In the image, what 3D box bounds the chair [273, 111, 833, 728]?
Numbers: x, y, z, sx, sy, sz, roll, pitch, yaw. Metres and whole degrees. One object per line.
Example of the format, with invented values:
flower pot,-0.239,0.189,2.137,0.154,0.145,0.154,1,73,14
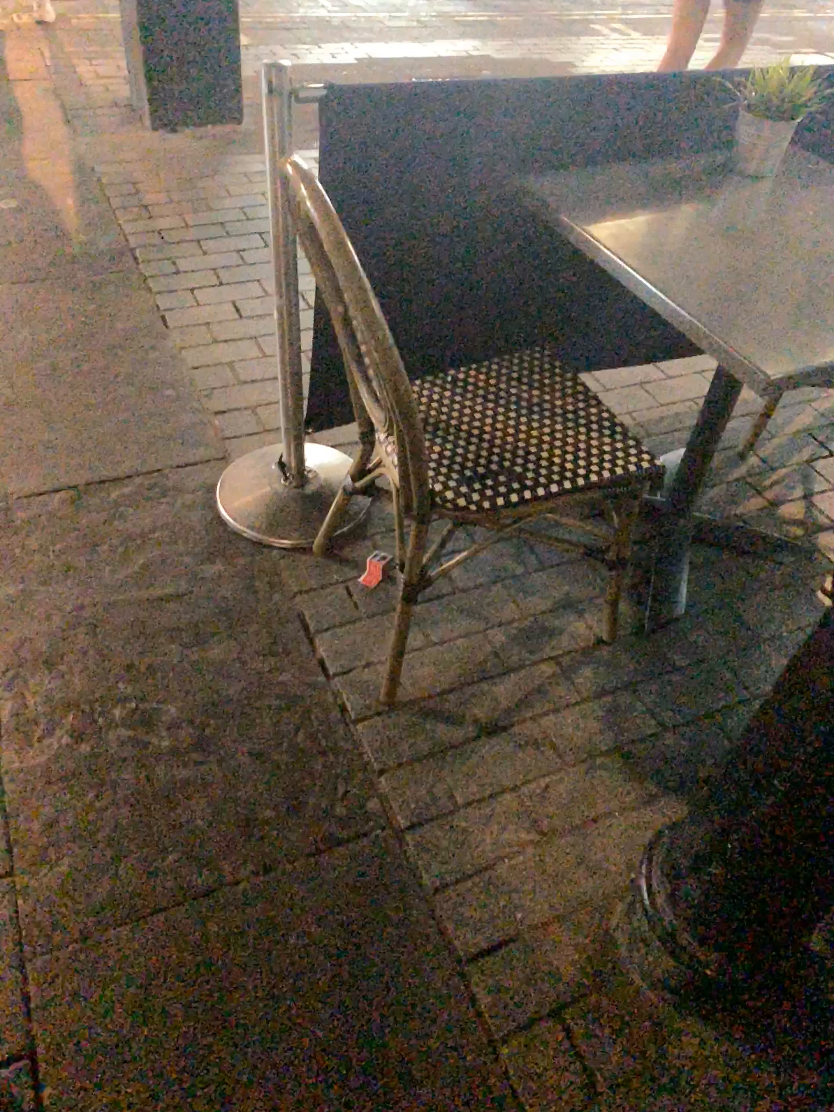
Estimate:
chair,0.133,-0.229,1.434,0.601,0.792,0.514,-14,48,-20
